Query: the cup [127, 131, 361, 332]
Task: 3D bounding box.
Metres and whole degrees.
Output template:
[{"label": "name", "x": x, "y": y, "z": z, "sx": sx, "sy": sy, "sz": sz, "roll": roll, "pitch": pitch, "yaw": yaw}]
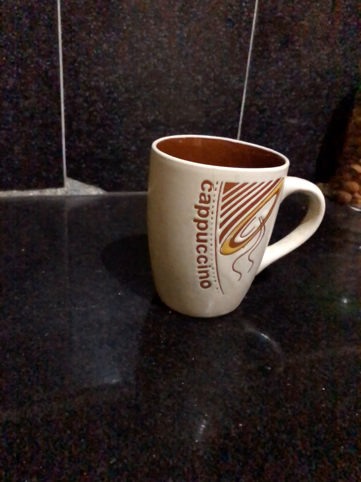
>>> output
[{"label": "cup", "x": 0.038, "y": -0.015, "z": 0.261, "sx": 0.120, "sy": 0.089, "sz": 0.090, "roll": -5, "pitch": 27, "yaw": -22}]
